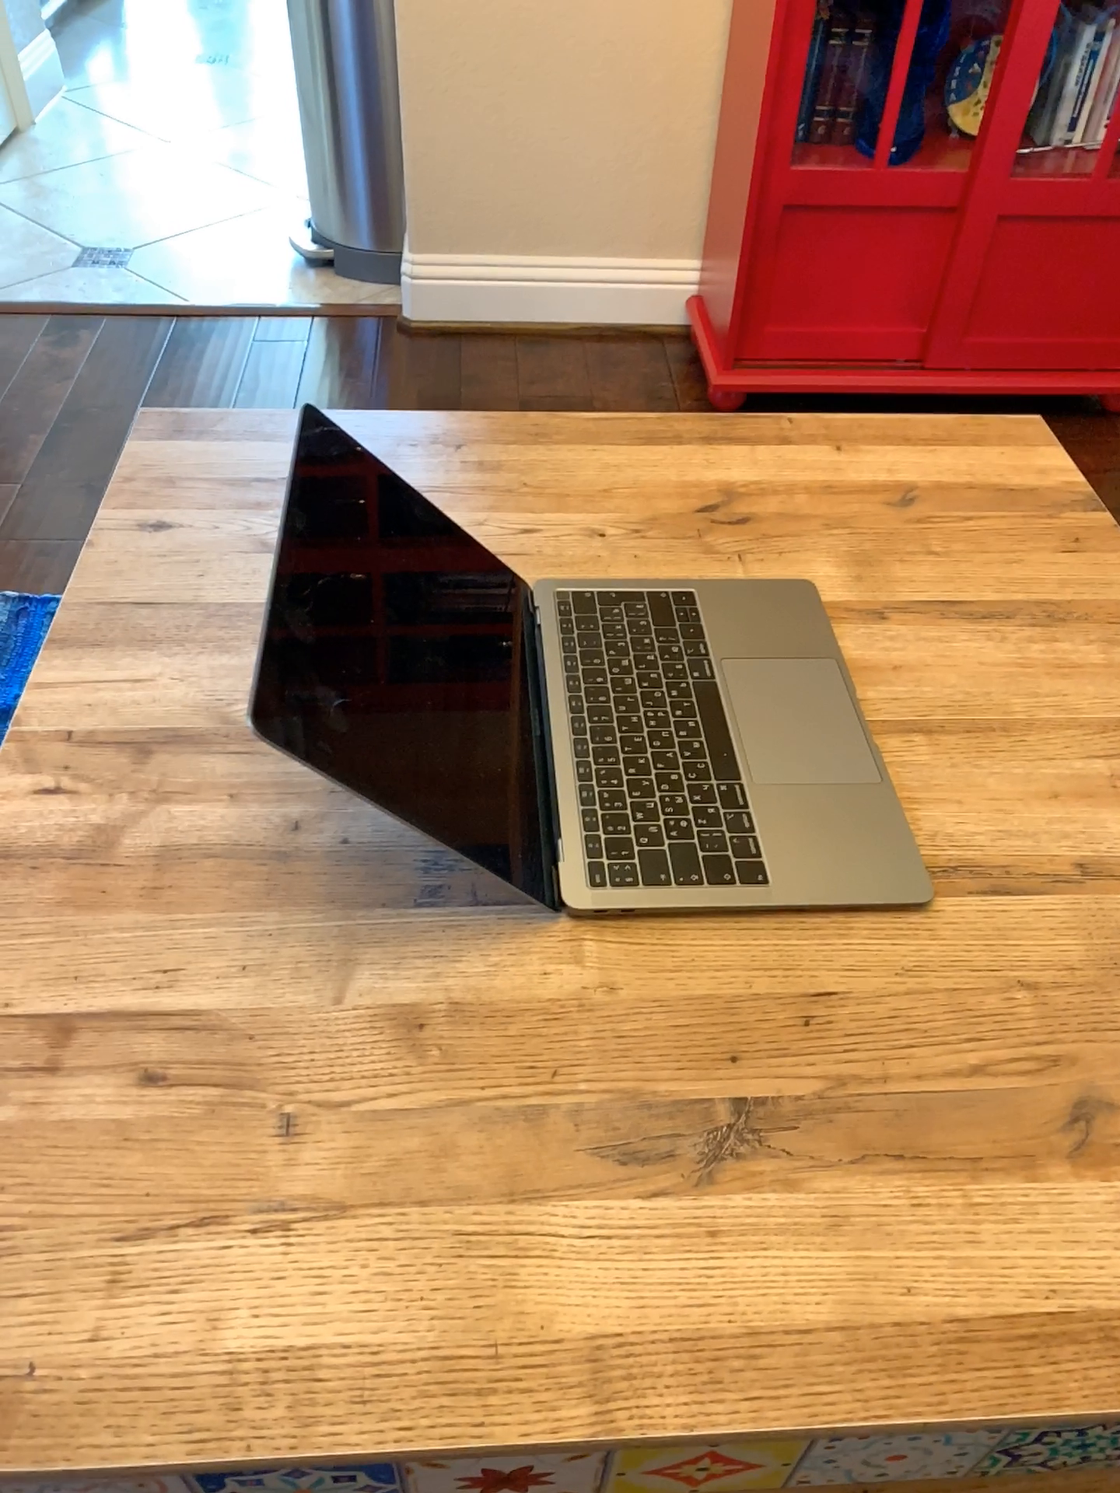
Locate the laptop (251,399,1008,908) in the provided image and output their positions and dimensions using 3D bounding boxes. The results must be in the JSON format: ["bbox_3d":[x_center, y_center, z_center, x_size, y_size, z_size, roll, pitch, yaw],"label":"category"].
[{"bbox_3d":[0.023,-0.066,0.682,0.353,0.141,0.292,0,45,-4],"label":"laptop"}]
